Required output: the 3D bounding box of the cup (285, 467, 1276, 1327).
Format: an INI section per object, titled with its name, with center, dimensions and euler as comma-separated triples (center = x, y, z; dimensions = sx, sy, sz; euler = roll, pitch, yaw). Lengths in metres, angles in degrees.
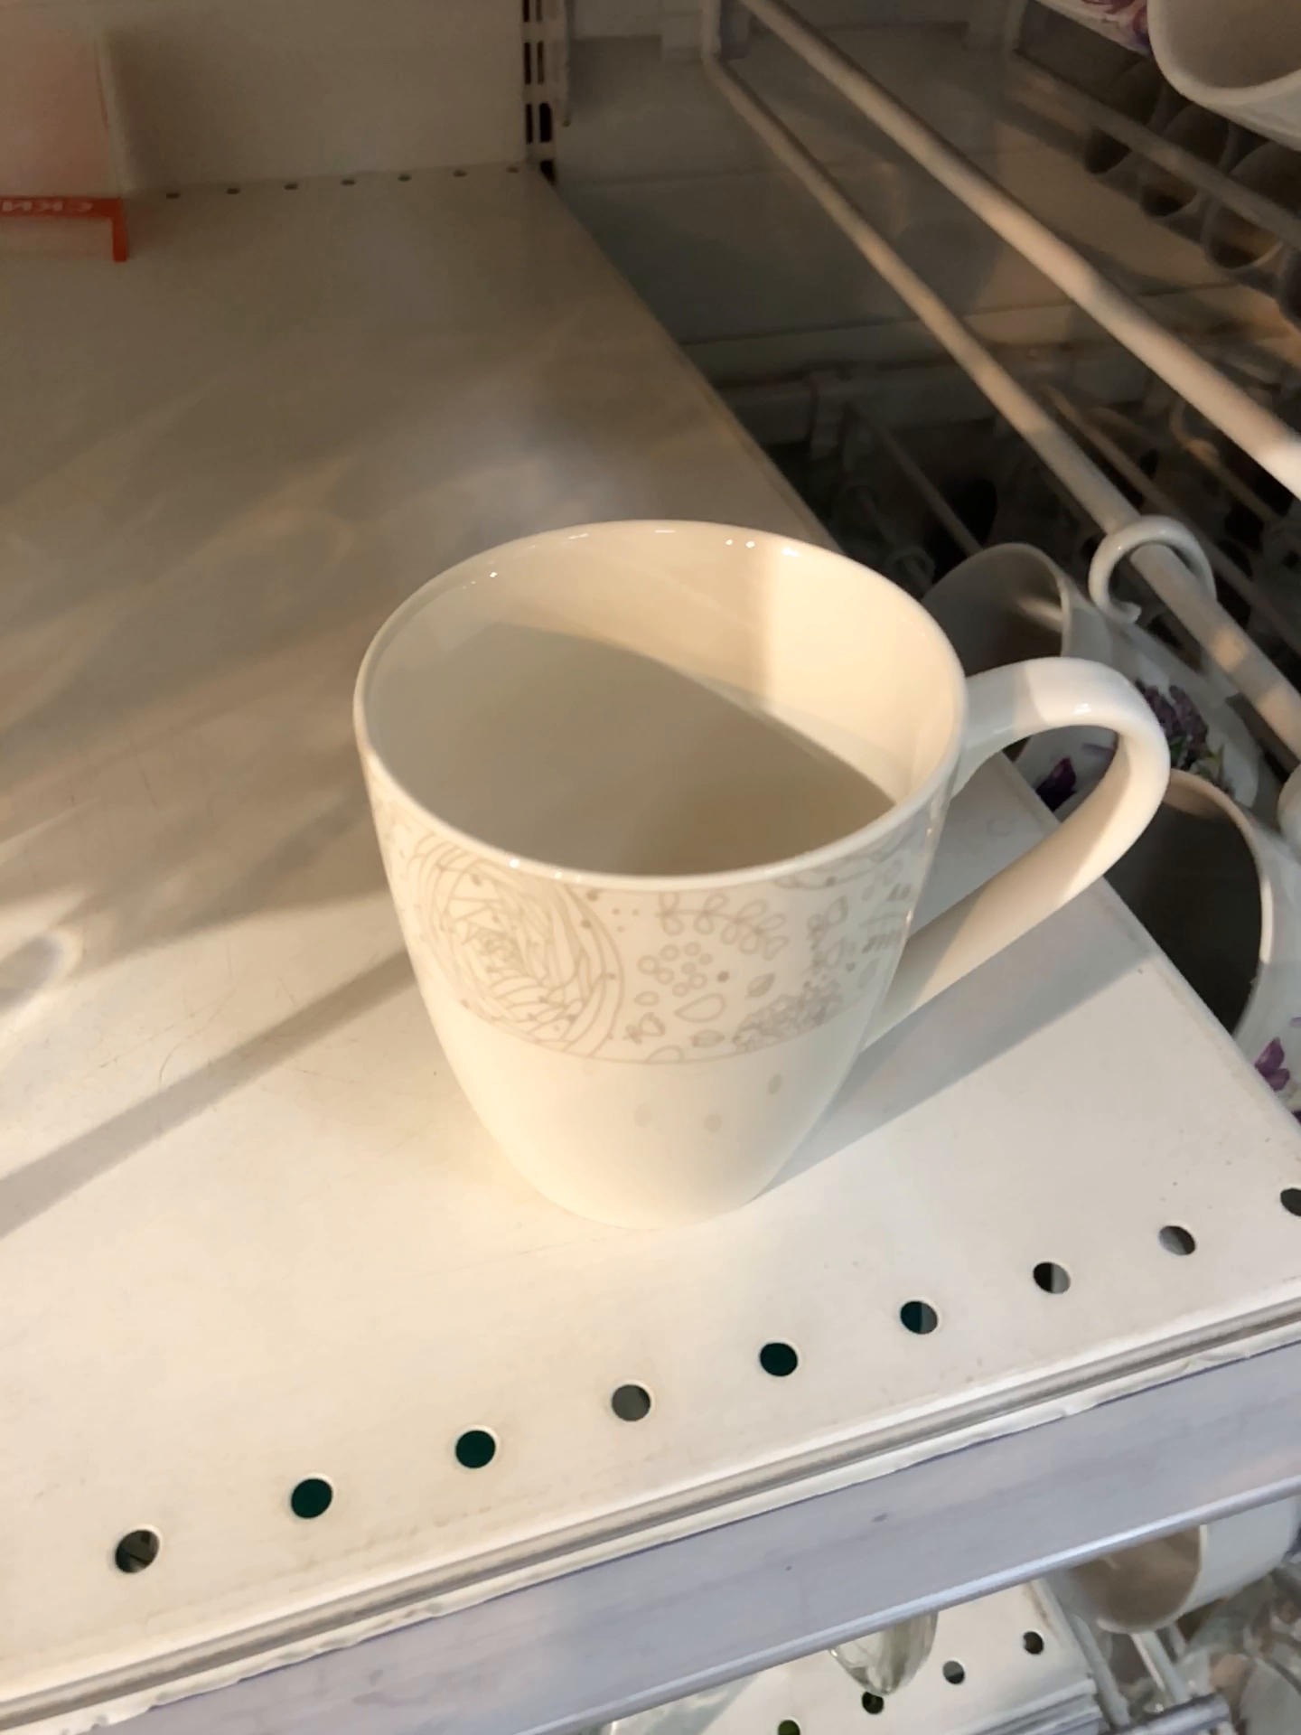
[cup]
center = 0.012, 0.001, 0.246
dimensions = 0.126, 0.091, 0.090
euler = -9, 44, -12
